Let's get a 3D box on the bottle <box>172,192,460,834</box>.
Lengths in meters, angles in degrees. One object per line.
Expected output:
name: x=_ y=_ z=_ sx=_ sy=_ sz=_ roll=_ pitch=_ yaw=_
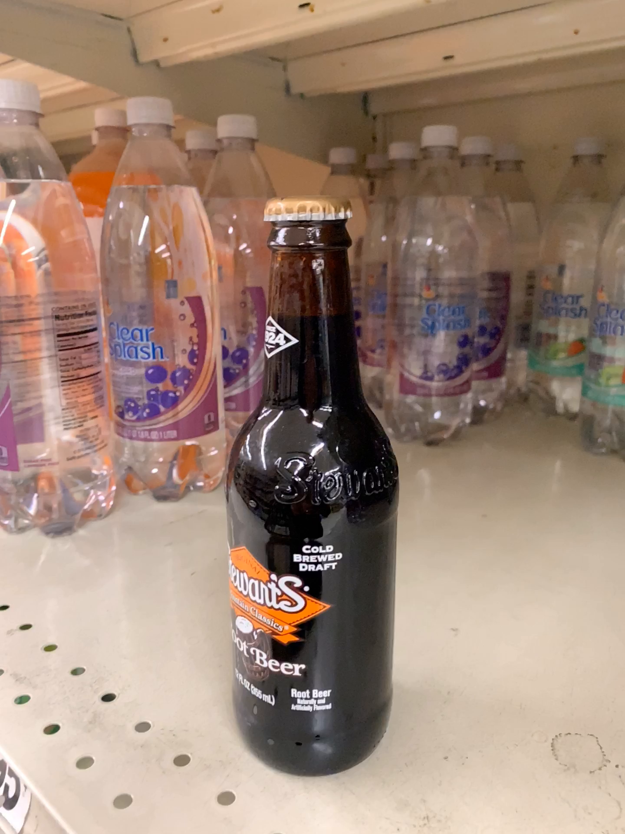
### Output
bottle: x=0.001 y=0.030 z=0.234 sx=0.060 sy=0.207 sz=0.070 roll=-14 pitch=21 yaw=-37
